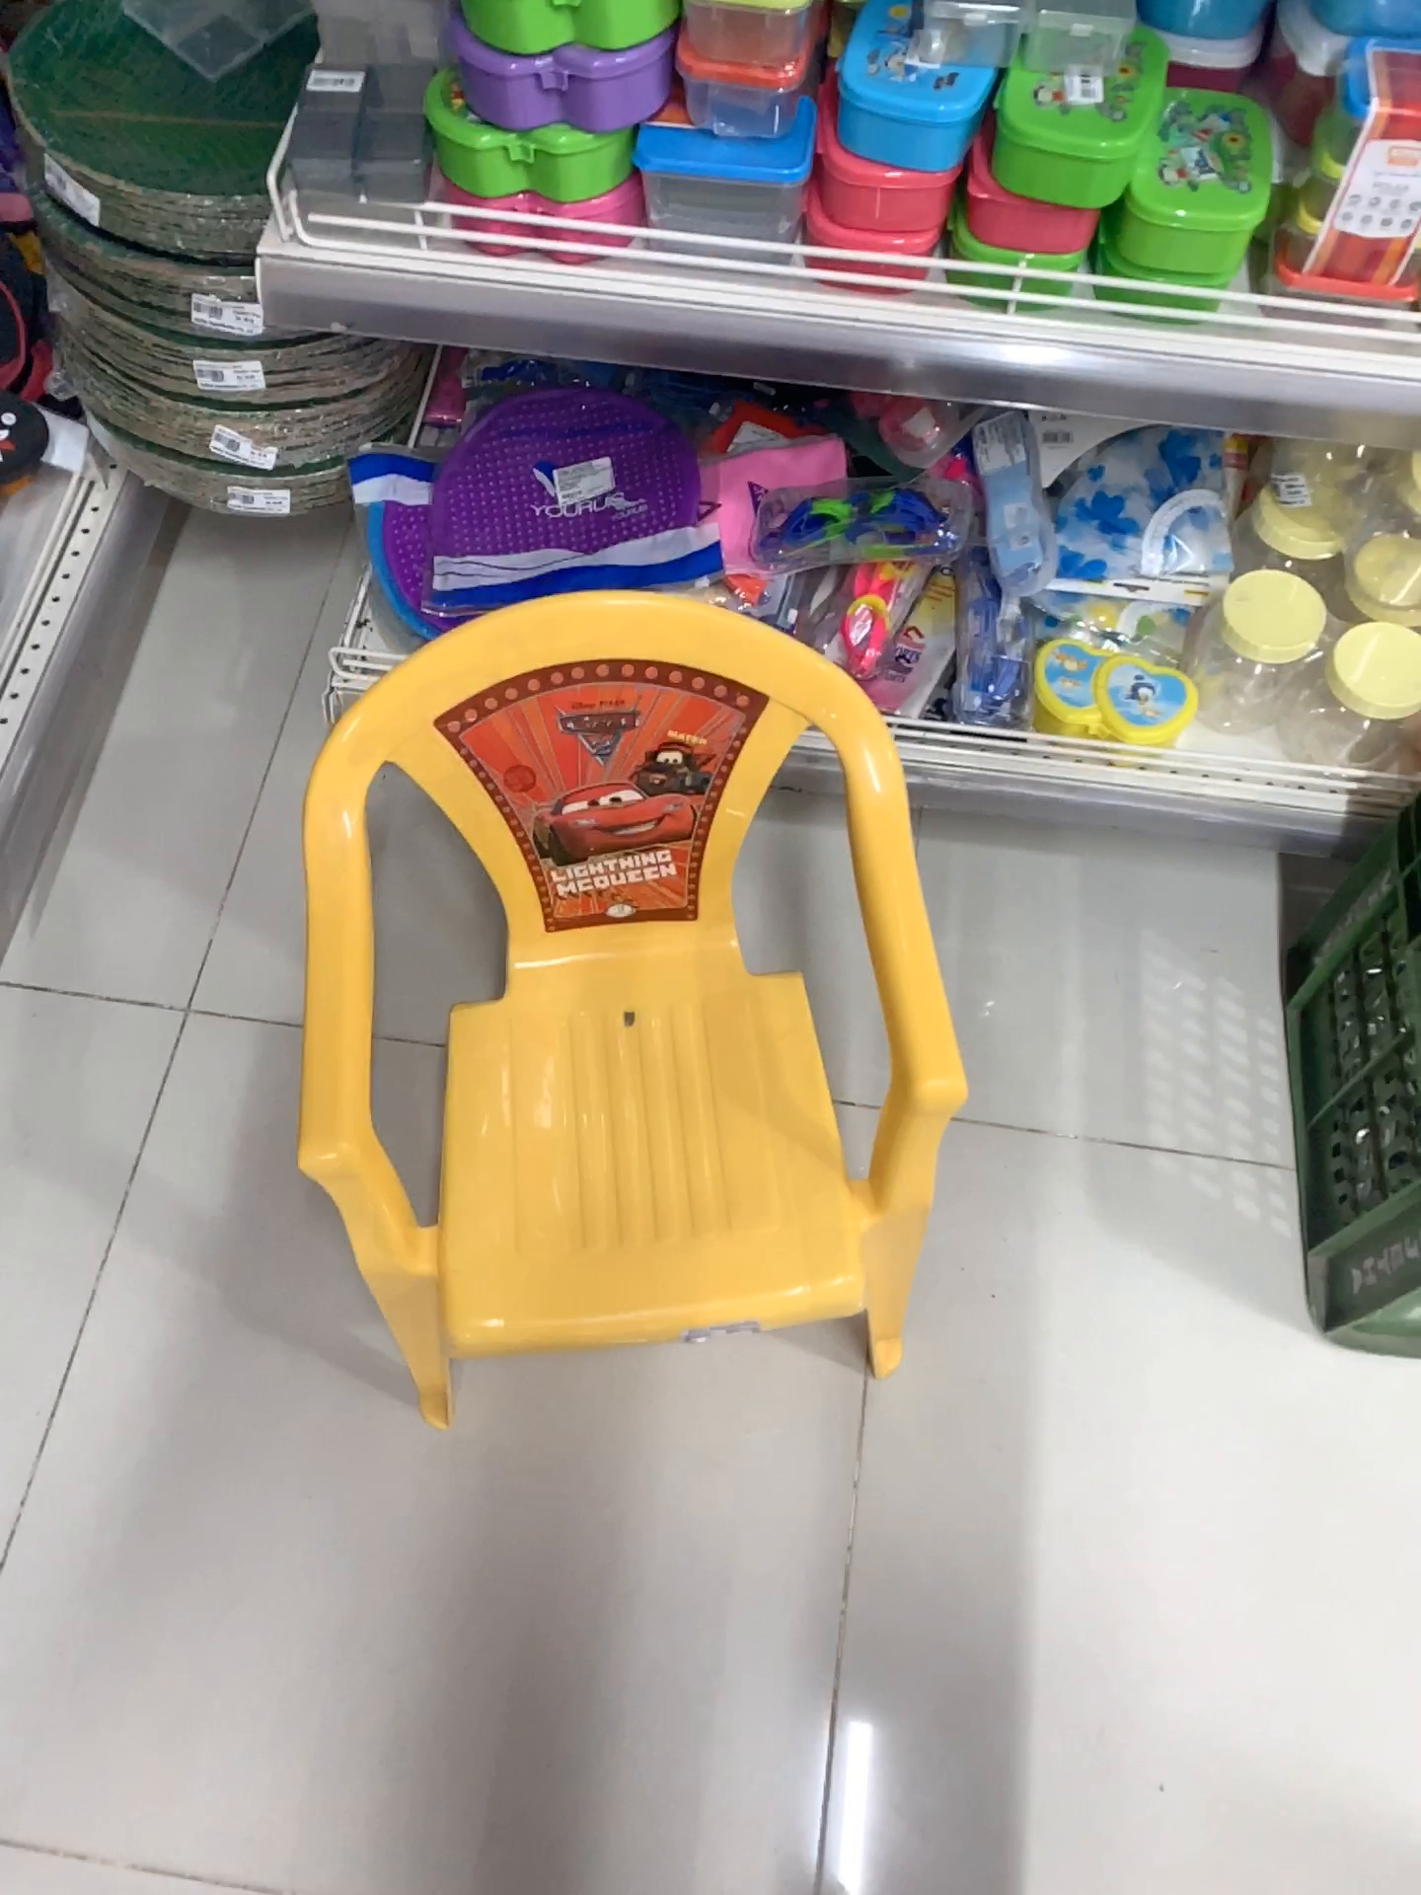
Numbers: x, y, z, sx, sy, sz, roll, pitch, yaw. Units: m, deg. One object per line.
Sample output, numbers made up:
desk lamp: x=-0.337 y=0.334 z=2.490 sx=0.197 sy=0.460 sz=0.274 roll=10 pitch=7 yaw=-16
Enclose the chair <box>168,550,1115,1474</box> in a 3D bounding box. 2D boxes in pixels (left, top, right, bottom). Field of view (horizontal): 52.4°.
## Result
chair: x=-0.045 y=0.083 z=0.898 sx=0.390 sy=0.499 sz=0.371 roll=-5 pitch=64 yaw=-3
